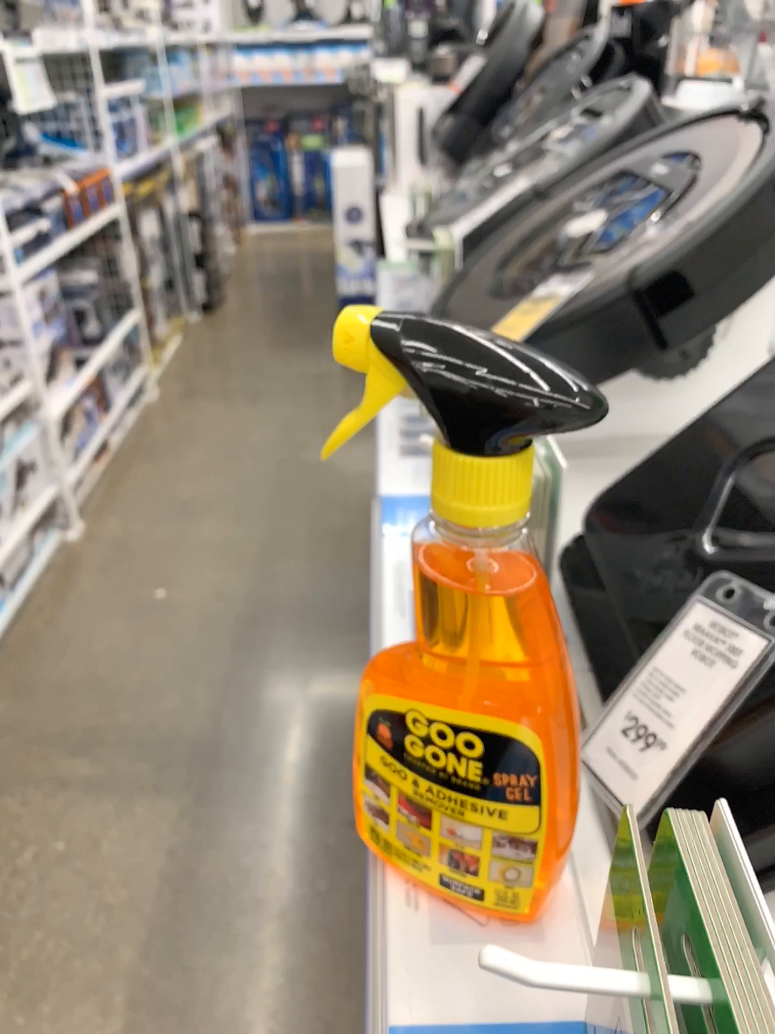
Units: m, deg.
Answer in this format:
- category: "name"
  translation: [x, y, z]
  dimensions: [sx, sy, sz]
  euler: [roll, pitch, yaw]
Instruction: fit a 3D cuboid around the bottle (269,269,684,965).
- category: "bottle"
  translation: [0.026, 0.041, 0.278]
  dimensions: [0.100, 0.226, 0.050]
  euler: [15, 34, 26]
